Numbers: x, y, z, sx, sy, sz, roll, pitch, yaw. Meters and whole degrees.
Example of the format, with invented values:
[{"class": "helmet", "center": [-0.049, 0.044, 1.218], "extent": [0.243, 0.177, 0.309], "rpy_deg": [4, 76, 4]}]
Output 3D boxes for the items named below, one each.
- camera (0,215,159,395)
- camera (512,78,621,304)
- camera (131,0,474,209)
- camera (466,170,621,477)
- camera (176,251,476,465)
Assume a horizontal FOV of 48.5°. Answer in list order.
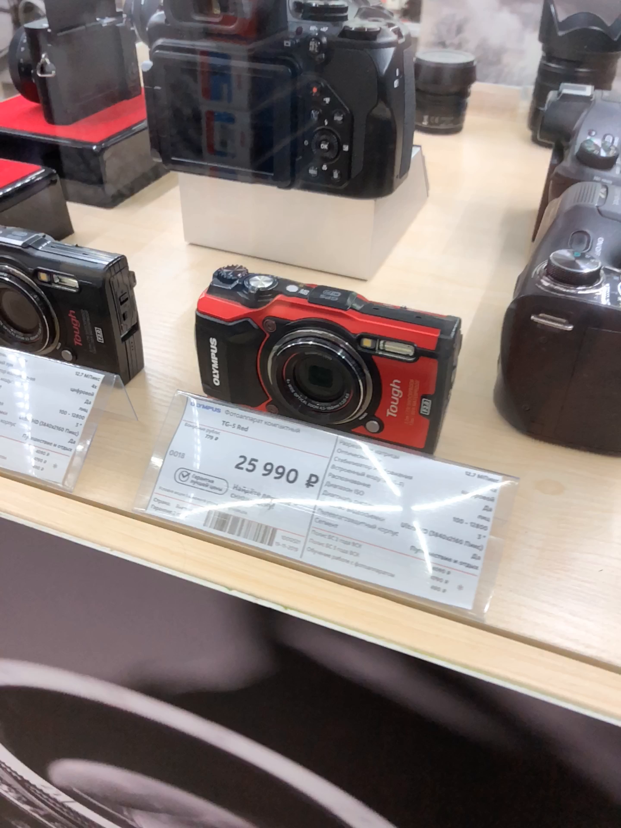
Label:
[{"class": "camera", "center": [-0.139, -0.056, 0.349], "extent": [0.116, 0.061, 0.030], "rpy_deg": [15, 40, 16]}, {"class": "camera", "center": [0.209, -0.159, 0.468], "extent": [0.102, 0.086, 0.159], "rpy_deg": [14, 40, 16]}, {"class": "camera", "center": [0.001, -0.194, 0.397], "extent": [0.147, 0.086, 0.127], "rpy_deg": [15, 40, 17]}, {"class": "camera", "center": [0.137, -0.049, 0.319], "extent": [0.094, 0.078, 0.117], "rpy_deg": [15, 40, 16]}, {"class": "camera", "center": [0.004, -0.026, 0.297], "extent": [0.119, 0.061, 0.030], "rpy_deg": [15, 40, 16]}]
